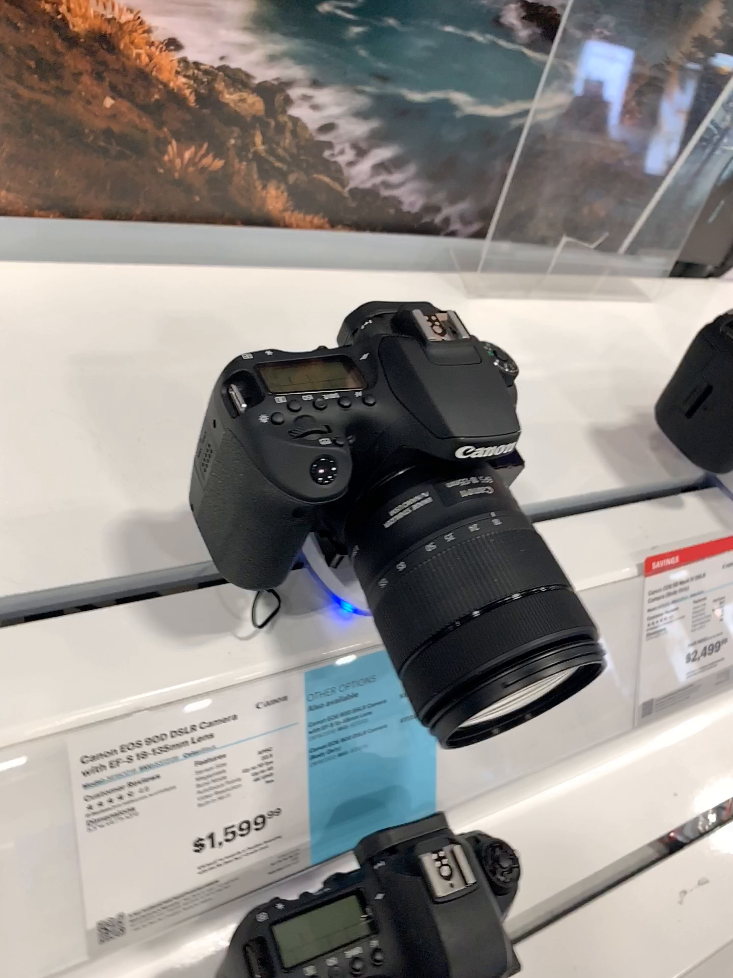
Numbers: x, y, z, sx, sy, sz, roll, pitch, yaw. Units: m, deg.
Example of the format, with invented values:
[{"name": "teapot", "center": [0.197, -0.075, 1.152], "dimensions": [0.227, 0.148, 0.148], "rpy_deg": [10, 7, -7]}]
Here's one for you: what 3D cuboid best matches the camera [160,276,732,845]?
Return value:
[{"name": "camera", "center": [0.021, 0.013, 0.301], "dimensions": [0.148, 0.104, 0.170], "rpy_deg": [-8, 55, -30]}]
